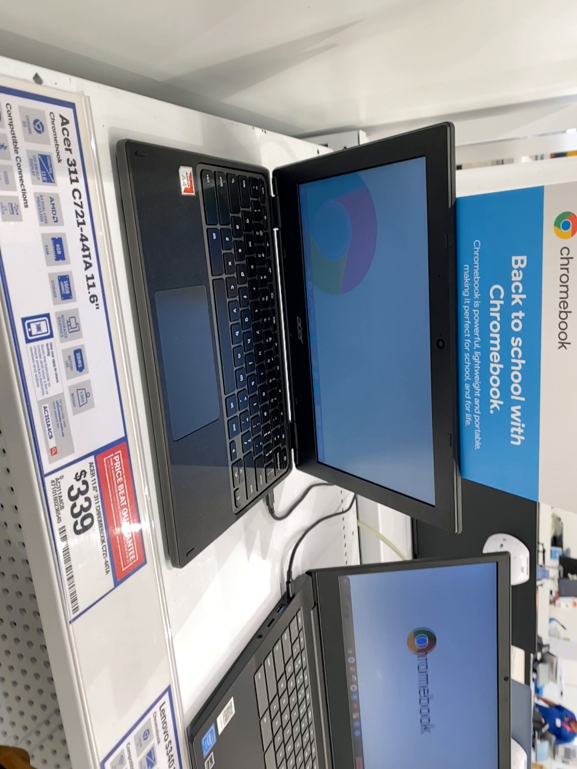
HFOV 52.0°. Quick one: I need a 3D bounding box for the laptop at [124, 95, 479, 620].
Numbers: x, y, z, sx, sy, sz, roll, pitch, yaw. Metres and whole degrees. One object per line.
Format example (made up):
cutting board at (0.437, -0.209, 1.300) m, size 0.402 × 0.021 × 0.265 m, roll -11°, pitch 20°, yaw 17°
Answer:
laptop at (0.034, -0.026, 0.447) m, size 0.201 × 0.181 × 0.289 m, roll -29°, pitch 117°, yaw -61°
